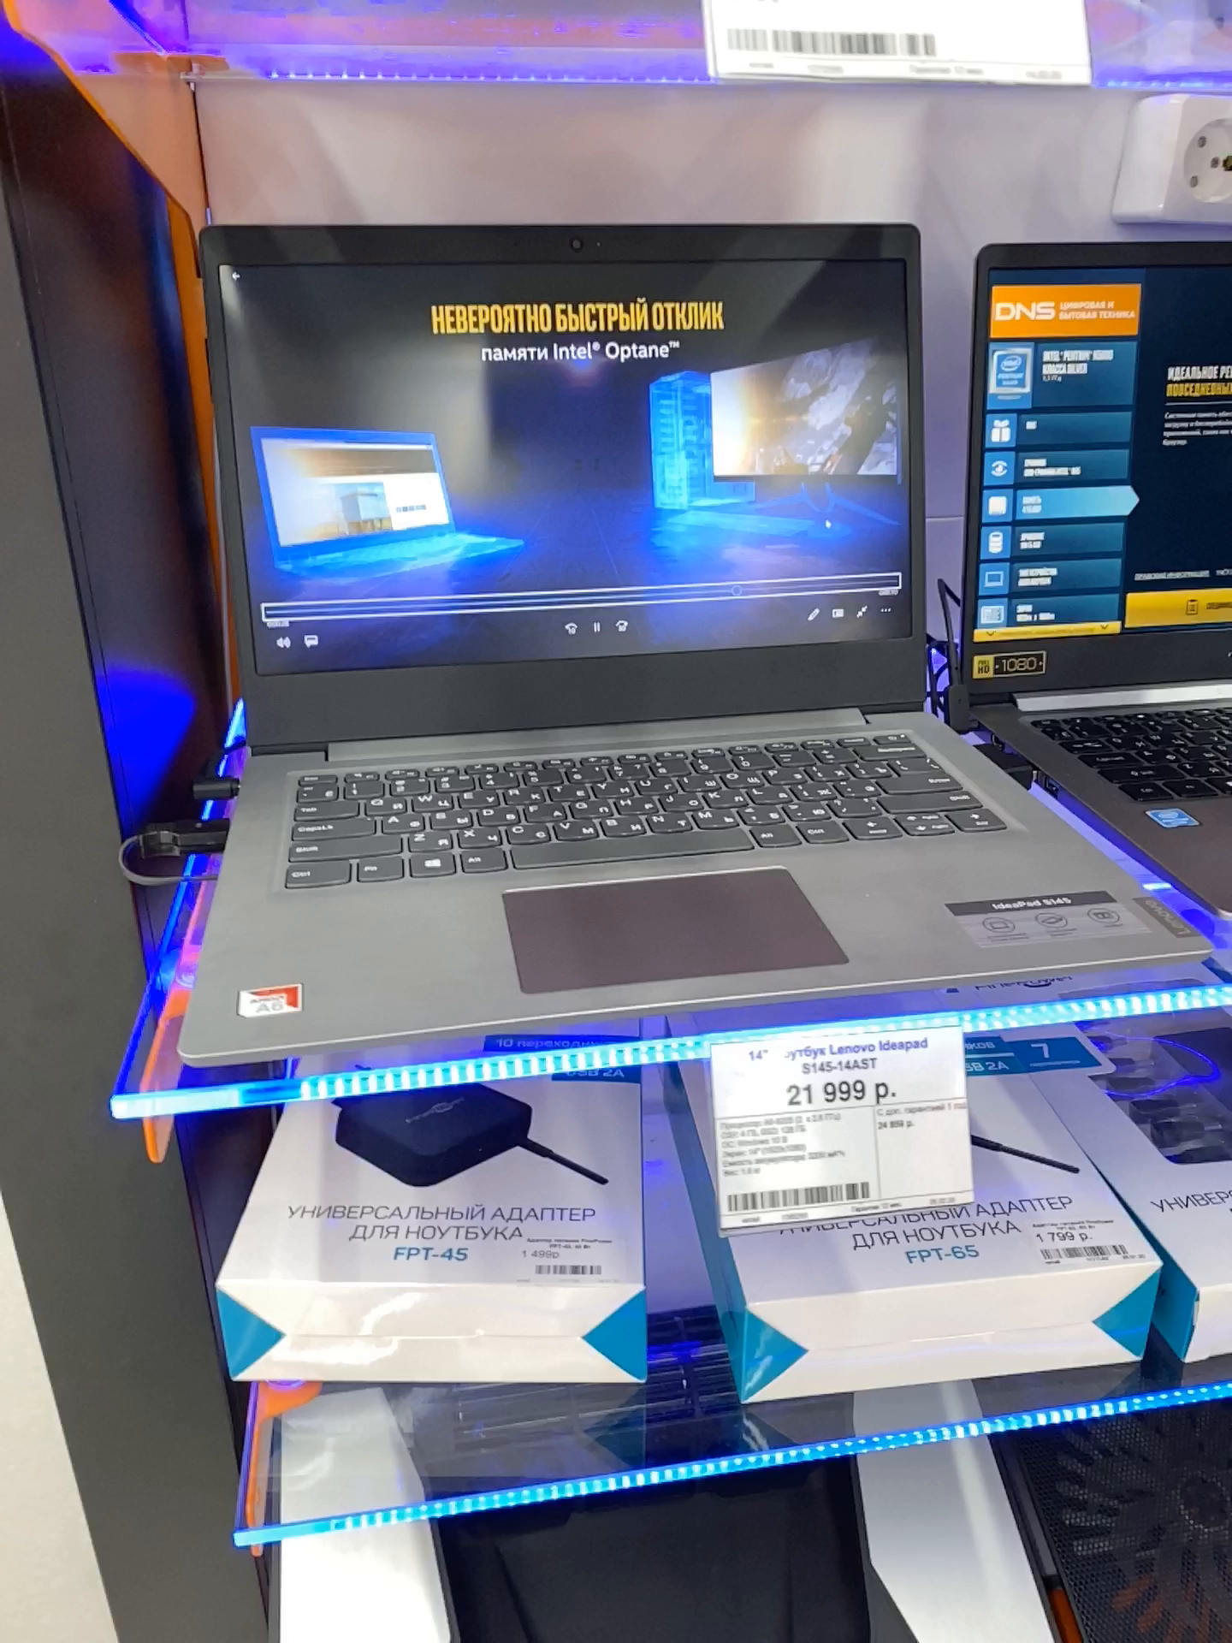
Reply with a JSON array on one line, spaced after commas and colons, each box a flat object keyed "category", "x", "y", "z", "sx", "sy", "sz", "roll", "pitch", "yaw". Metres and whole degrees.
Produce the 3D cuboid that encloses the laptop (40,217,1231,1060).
[{"category": "laptop", "x": 0.010, "y": -0.105, "z": 0.477, "sx": 0.327, "sy": 0.215, "sz": 0.304, "roll": -5, "pitch": 25, "yaw": -9}]
